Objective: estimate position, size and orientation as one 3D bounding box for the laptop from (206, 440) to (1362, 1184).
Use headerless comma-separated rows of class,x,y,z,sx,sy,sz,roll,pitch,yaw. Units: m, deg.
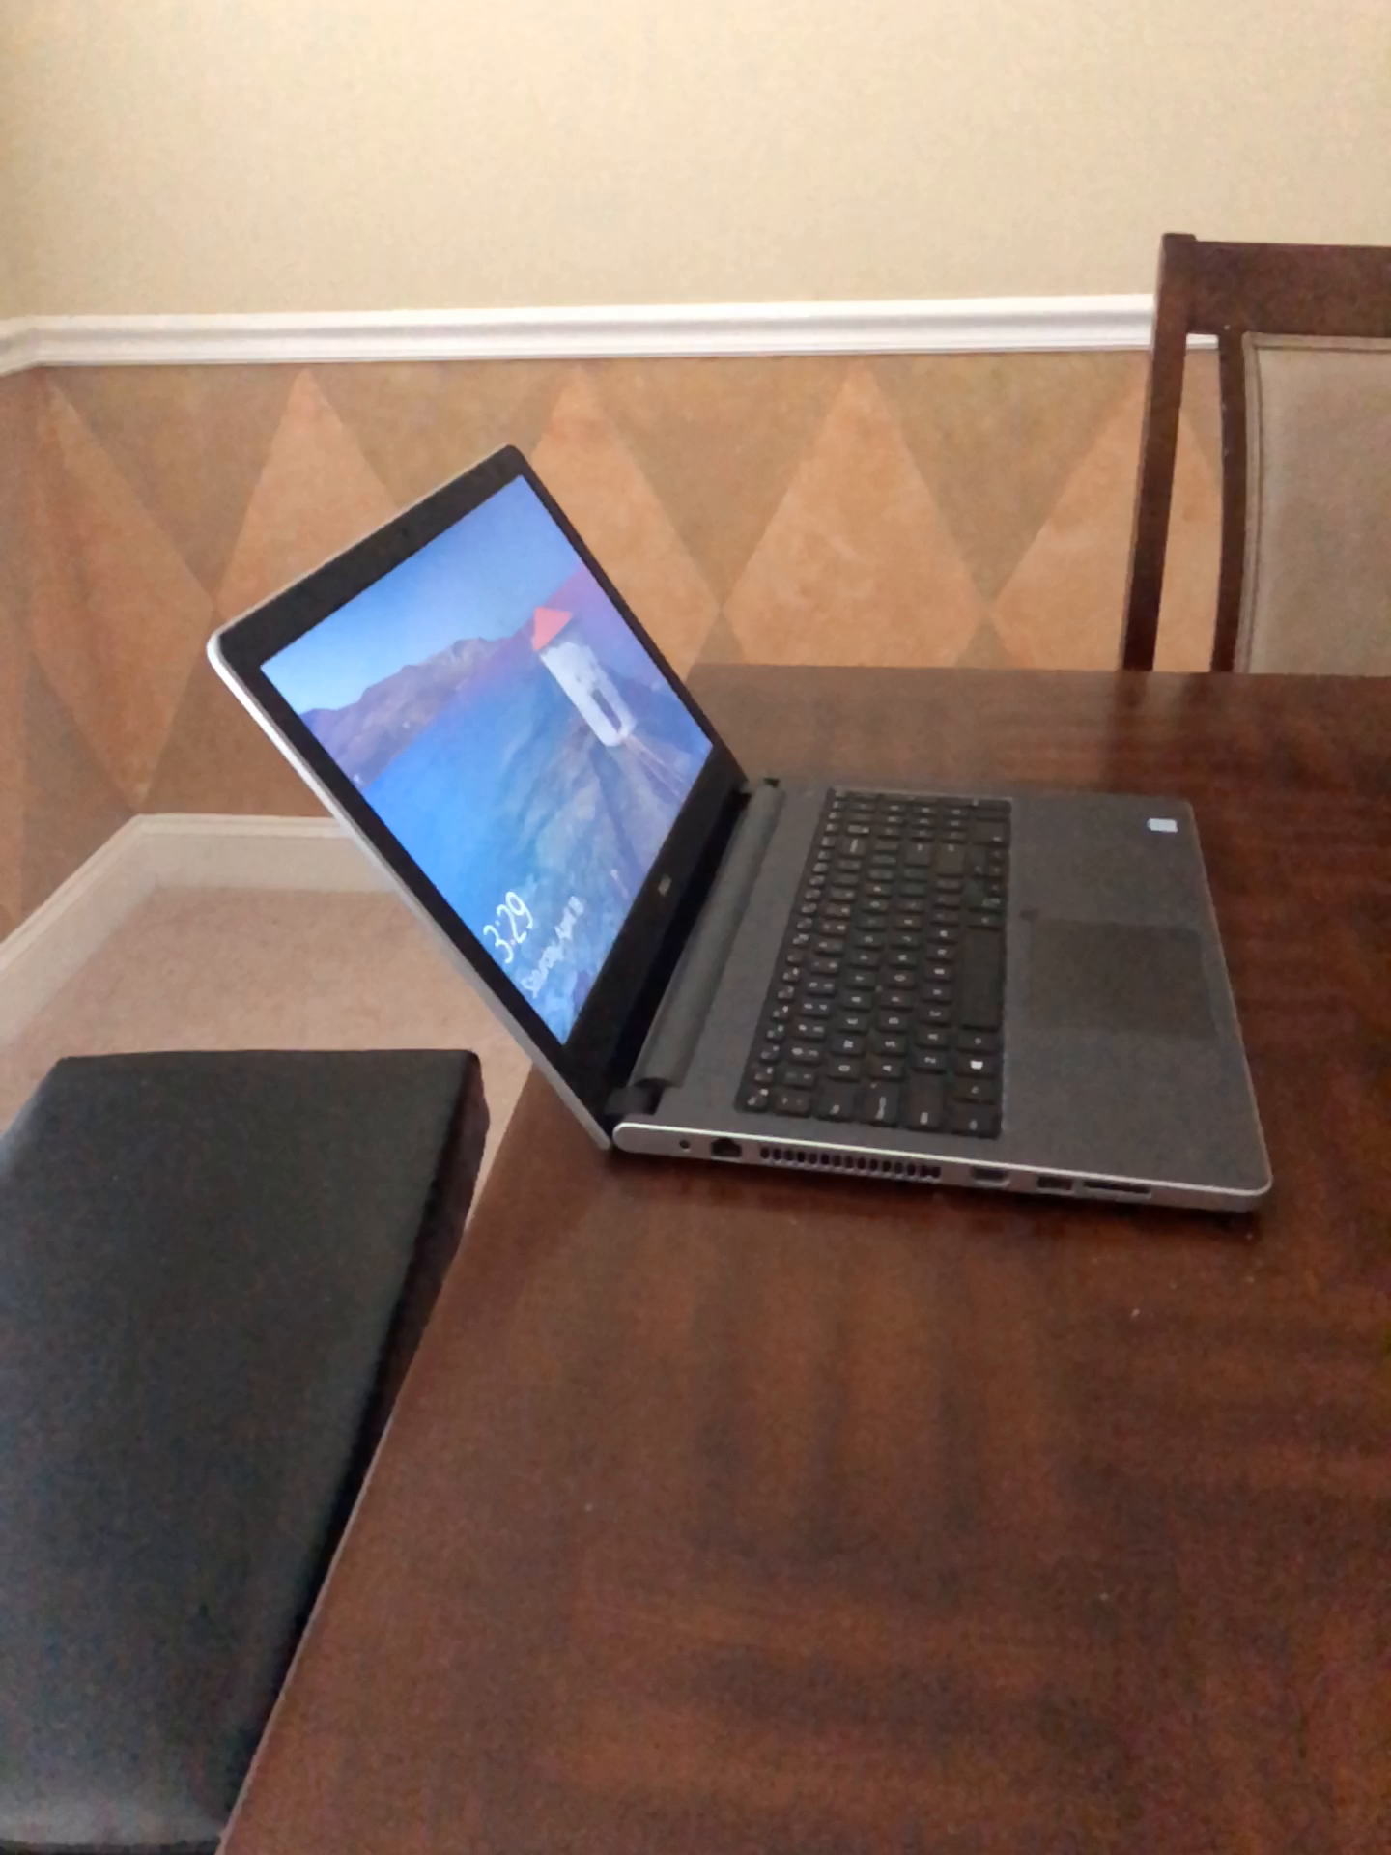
laptop,0.055,-0.090,0.718,0.391,0.198,0.369,4,28,9
